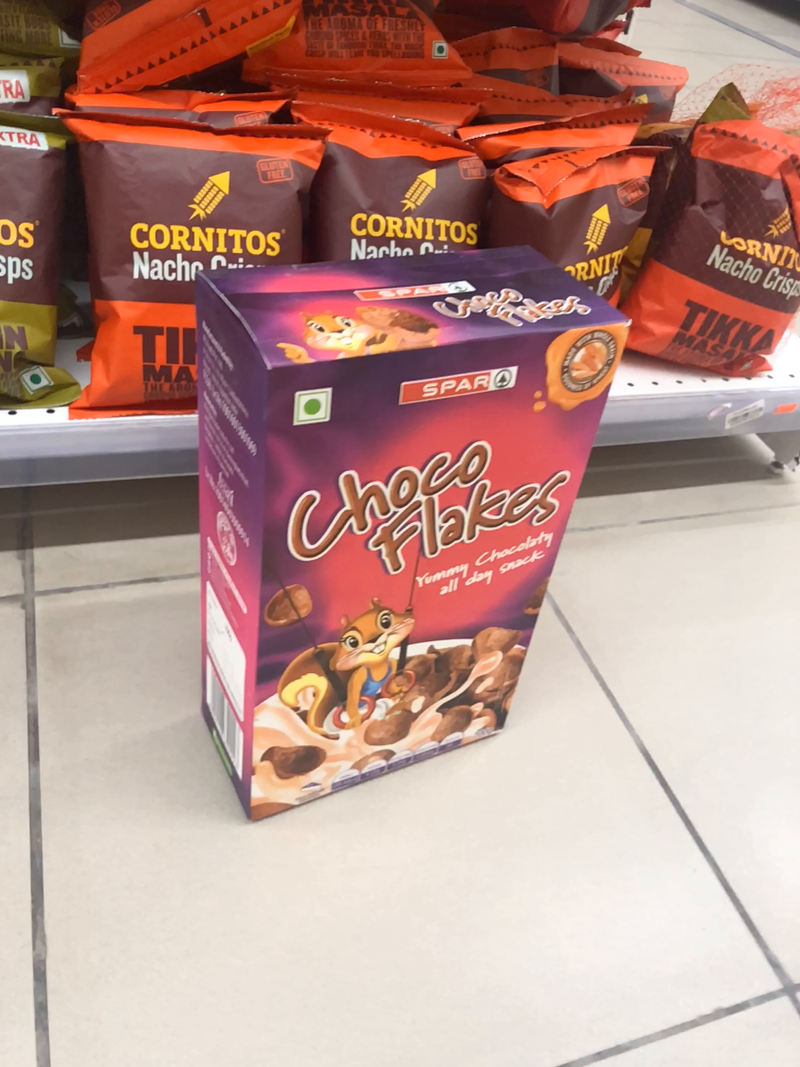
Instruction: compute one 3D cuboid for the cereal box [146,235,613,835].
[{"bbox_3d":[-0.031,0.013,0.522,0.200,0.339,0.090,-13,46,-26],"label":"cereal box"}]
